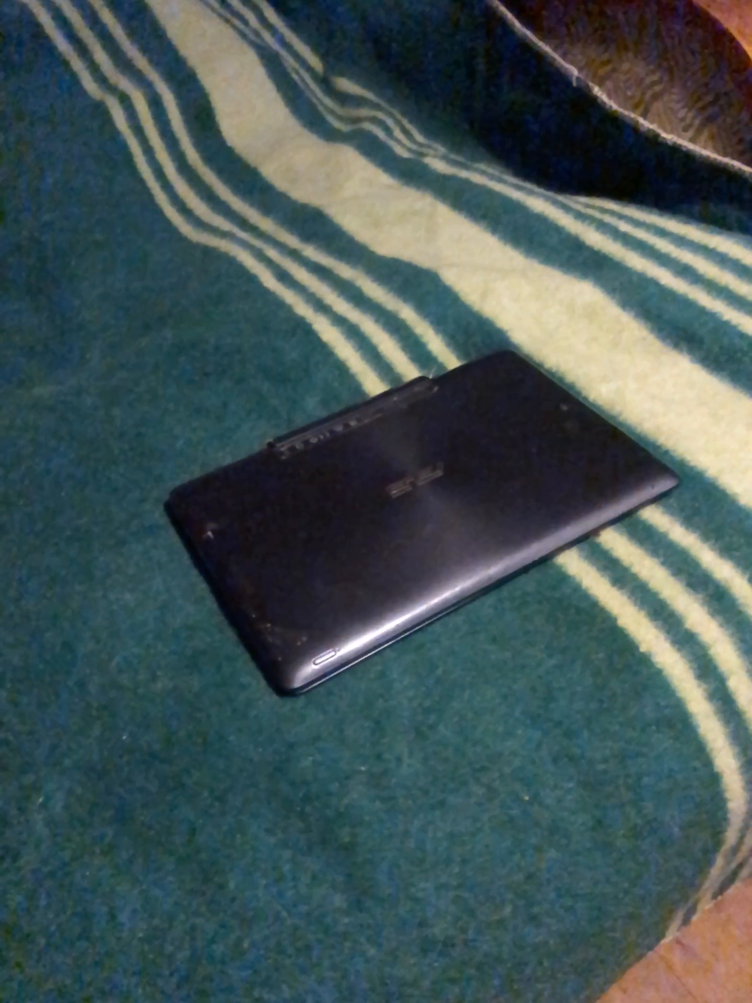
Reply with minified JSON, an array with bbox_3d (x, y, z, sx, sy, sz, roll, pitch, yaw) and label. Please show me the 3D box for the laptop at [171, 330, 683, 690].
[{"bbox_3d":[0.027,-0.015,0.500,0.262,0.017,0.167,-26,48,-19],"label":"laptop"}]
